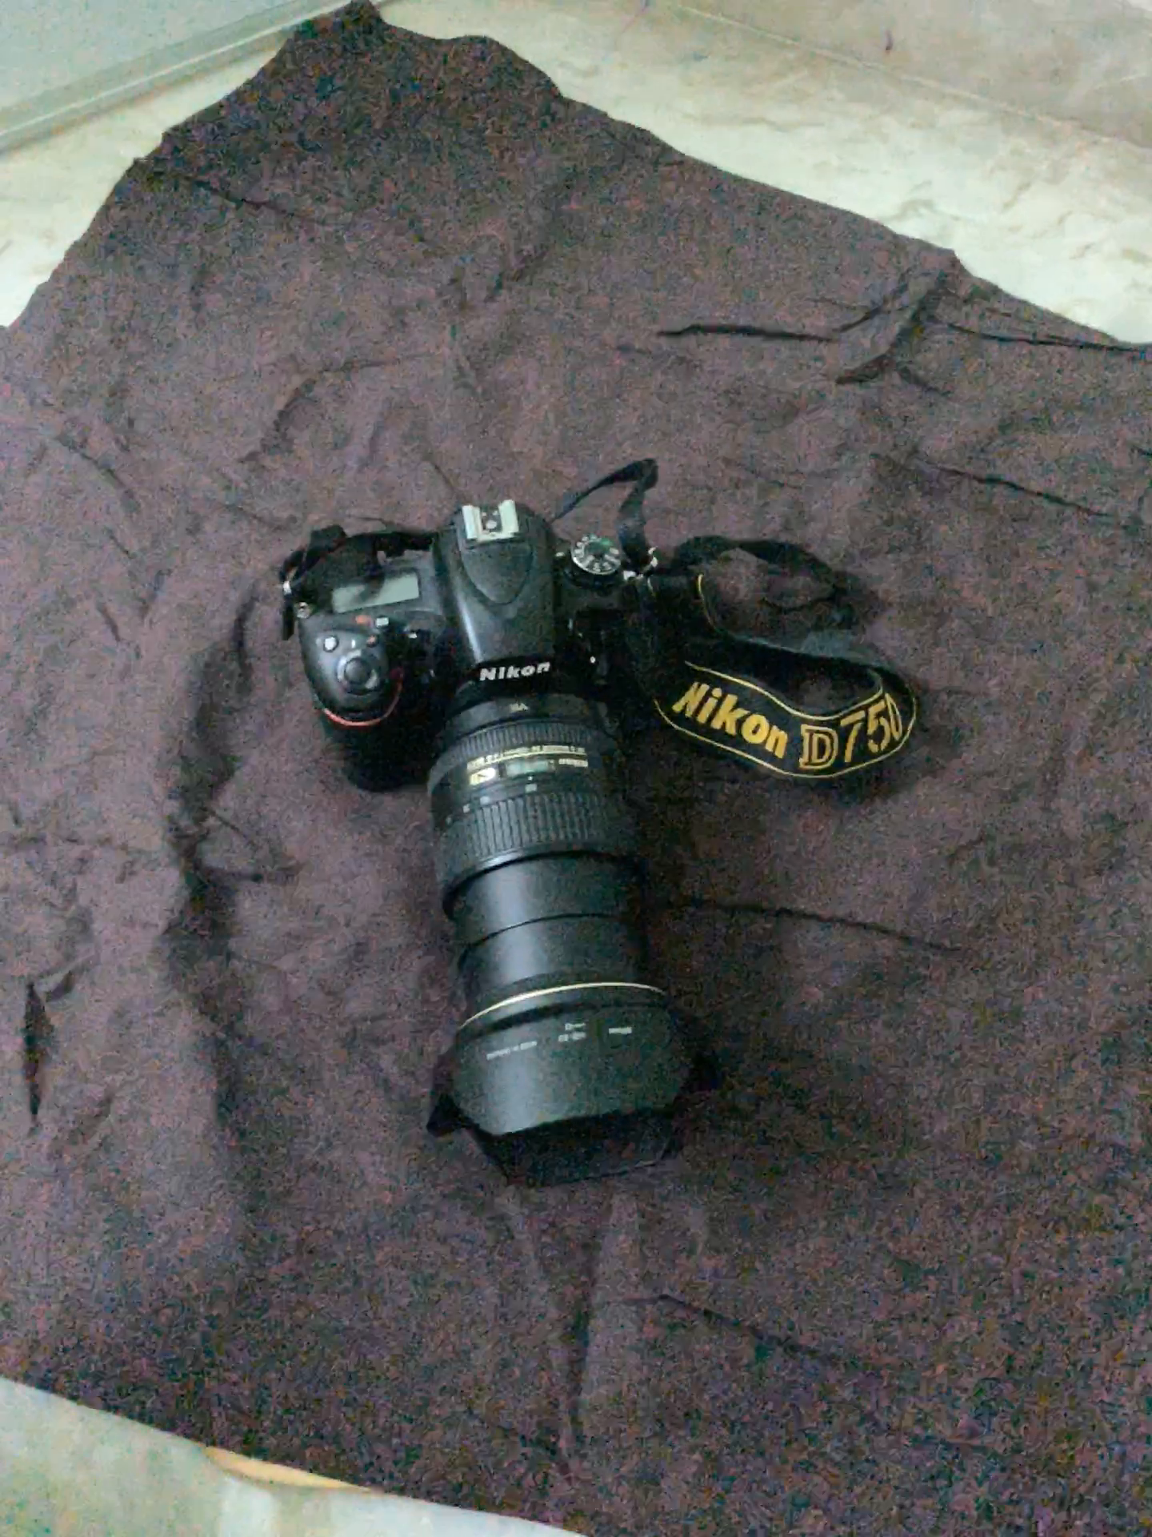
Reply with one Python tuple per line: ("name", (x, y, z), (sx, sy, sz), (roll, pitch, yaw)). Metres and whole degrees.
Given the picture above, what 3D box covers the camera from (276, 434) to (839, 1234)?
("camera", (-0.021, 0.018, 0.462), (0.161, 0.100, 0.279), (-7, 64, -6))
